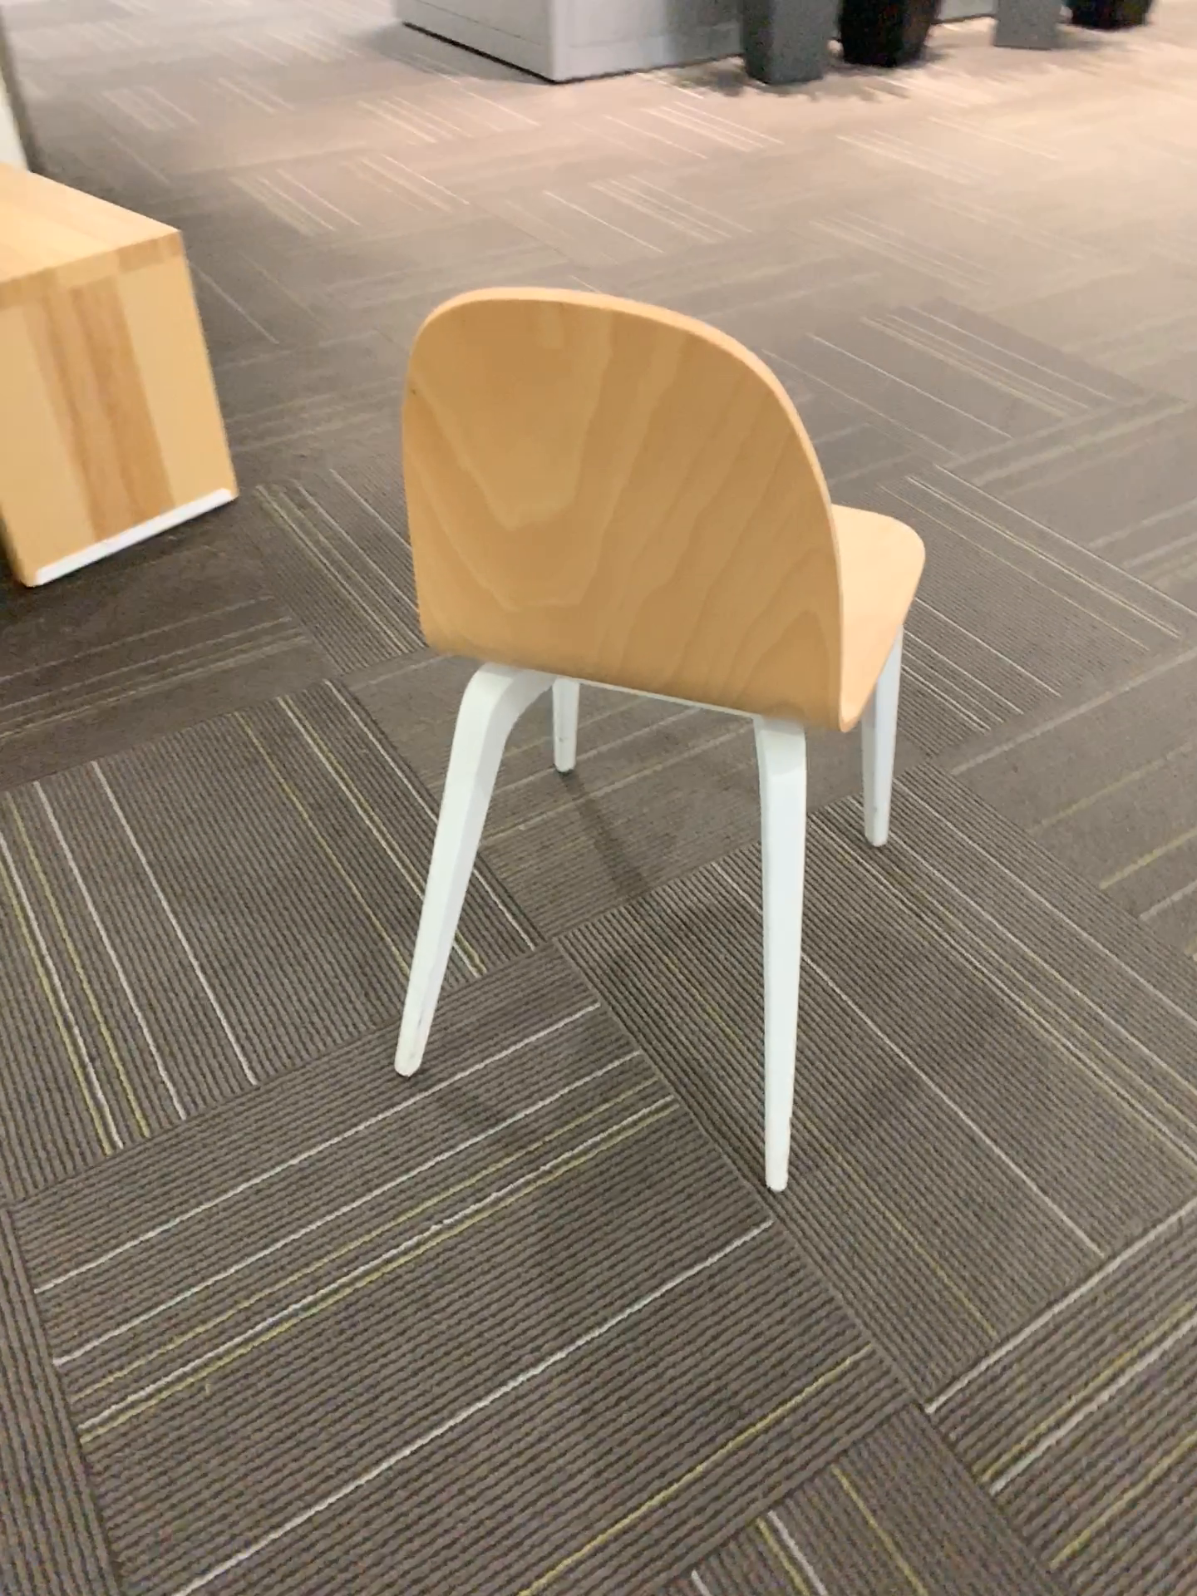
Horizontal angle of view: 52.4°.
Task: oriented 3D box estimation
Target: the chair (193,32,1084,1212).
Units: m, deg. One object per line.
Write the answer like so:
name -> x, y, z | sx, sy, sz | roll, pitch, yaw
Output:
chair -> 0.079, -0.152, 1.120 | 0.461, 0.825, 0.573 | 14, 44, 14
